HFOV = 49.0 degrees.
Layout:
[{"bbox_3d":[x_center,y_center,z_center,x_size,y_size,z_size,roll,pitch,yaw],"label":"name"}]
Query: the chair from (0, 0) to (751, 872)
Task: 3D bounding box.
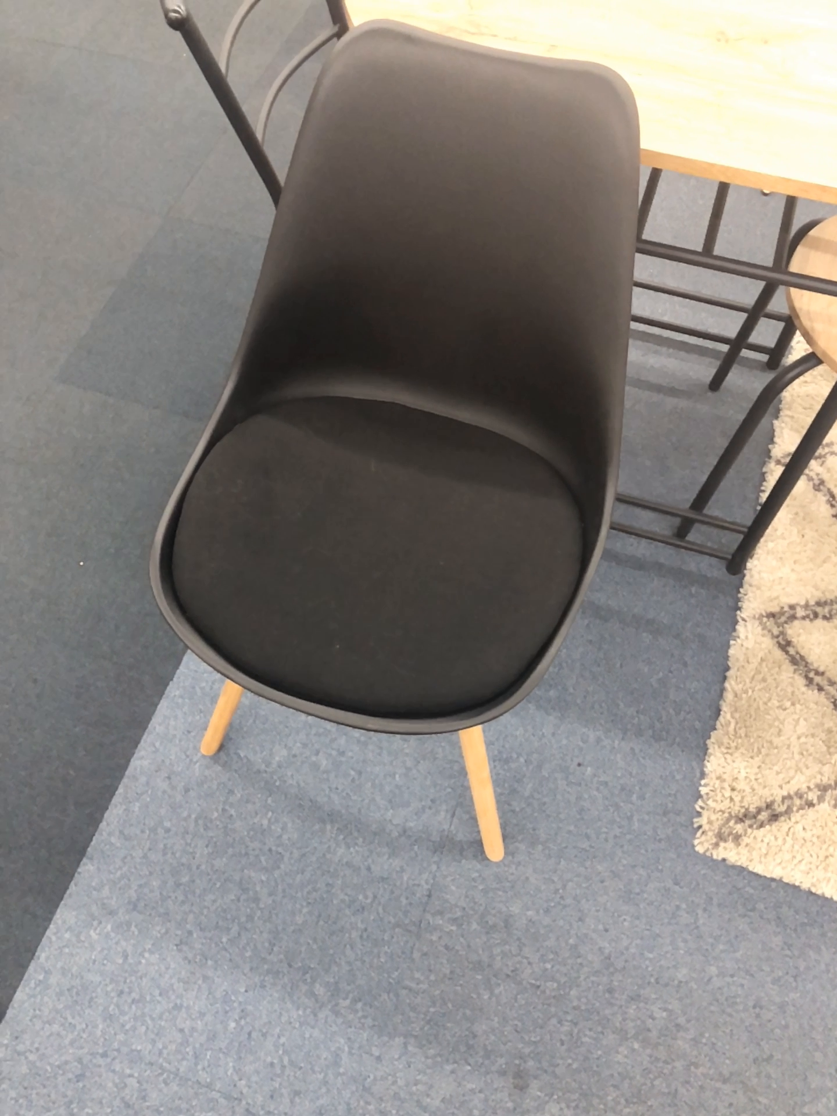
[{"bbox_3d":[-0.043,-0.060,1.043,0.490,0.858,0.501,17,62,10],"label":"chair"}]
